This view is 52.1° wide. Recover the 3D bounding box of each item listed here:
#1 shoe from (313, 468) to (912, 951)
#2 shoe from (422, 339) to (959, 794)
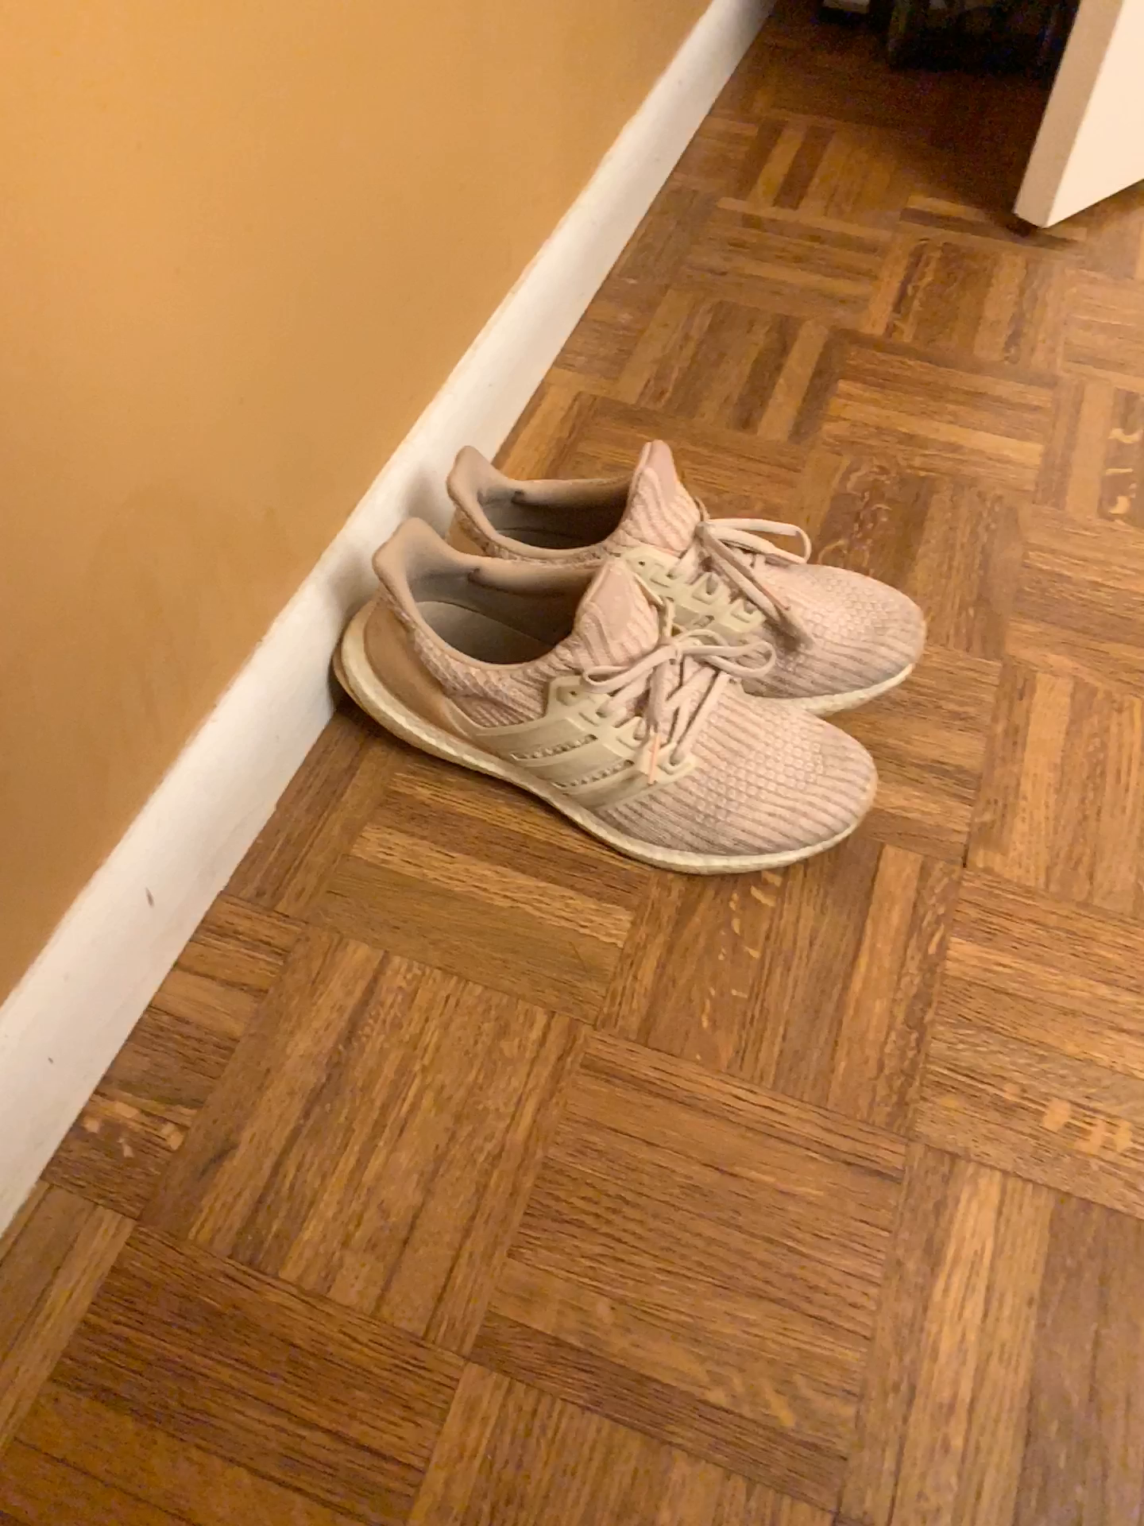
[{"bbox_3d":[0.014,-0.025,0.622,0.280,0.130,0.100,23,56,2],"label":"shoe"},{"bbox_3d":[0.064,-0.109,0.668,0.260,0.120,0.110,25,56,0],"label":"shoe"}]
